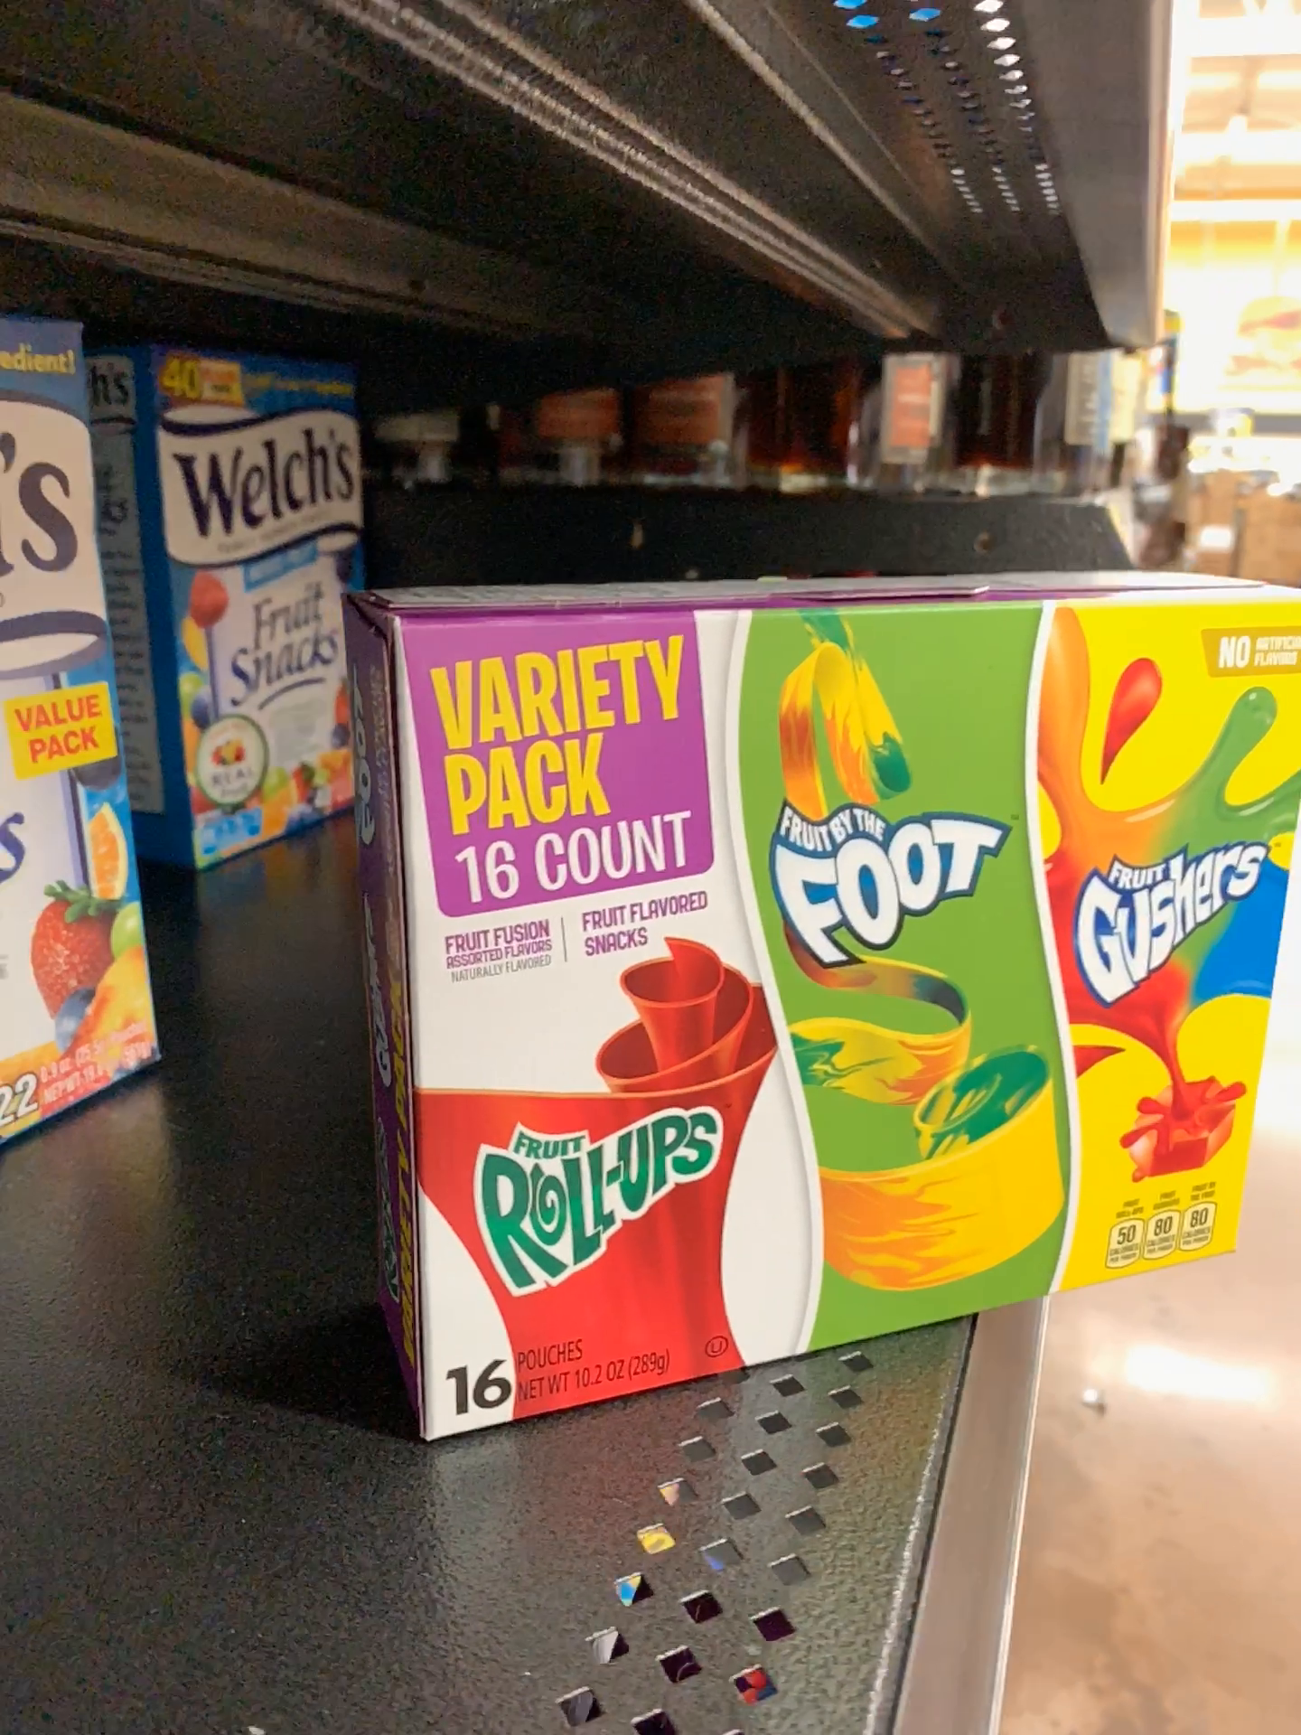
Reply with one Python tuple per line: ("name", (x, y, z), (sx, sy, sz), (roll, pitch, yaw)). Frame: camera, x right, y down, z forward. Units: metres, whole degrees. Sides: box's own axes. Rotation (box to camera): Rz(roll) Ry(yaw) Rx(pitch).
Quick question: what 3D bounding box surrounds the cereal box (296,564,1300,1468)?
("cereal box", (0.040, 0.020, 0.309), (0.220, 0.169, 0.060), (-5, 17, -20))
